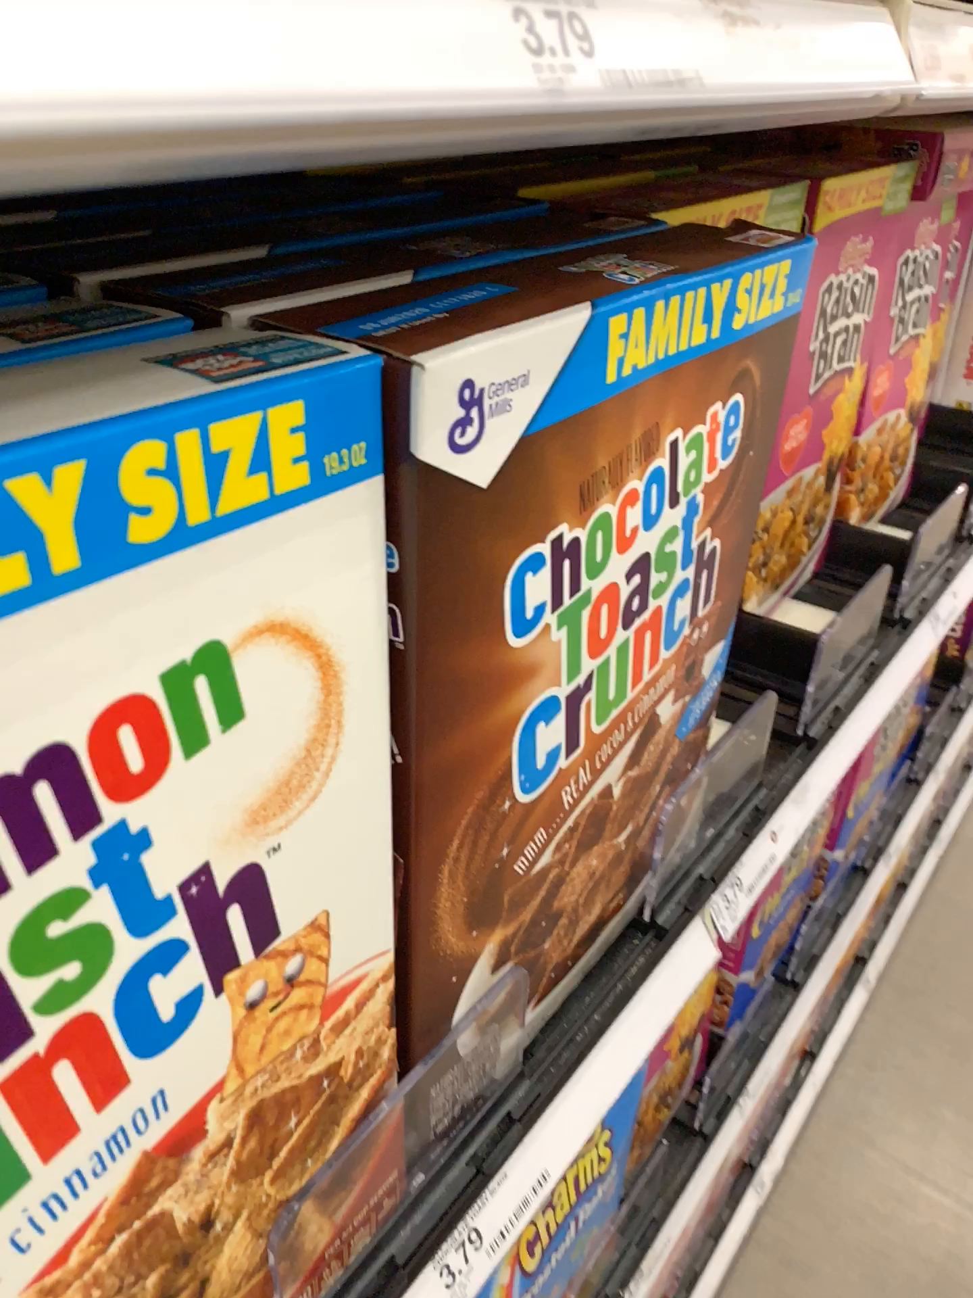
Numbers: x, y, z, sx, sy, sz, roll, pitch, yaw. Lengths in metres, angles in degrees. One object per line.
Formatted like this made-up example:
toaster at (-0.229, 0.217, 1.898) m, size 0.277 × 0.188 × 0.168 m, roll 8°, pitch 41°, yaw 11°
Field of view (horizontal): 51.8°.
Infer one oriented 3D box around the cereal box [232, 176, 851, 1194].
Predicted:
cereal box at (0.031, 0.004, 0.376) m, size 0.060 × 0.308 × 0.241 m, roll 23°, pitch 37°, yaw 29°
